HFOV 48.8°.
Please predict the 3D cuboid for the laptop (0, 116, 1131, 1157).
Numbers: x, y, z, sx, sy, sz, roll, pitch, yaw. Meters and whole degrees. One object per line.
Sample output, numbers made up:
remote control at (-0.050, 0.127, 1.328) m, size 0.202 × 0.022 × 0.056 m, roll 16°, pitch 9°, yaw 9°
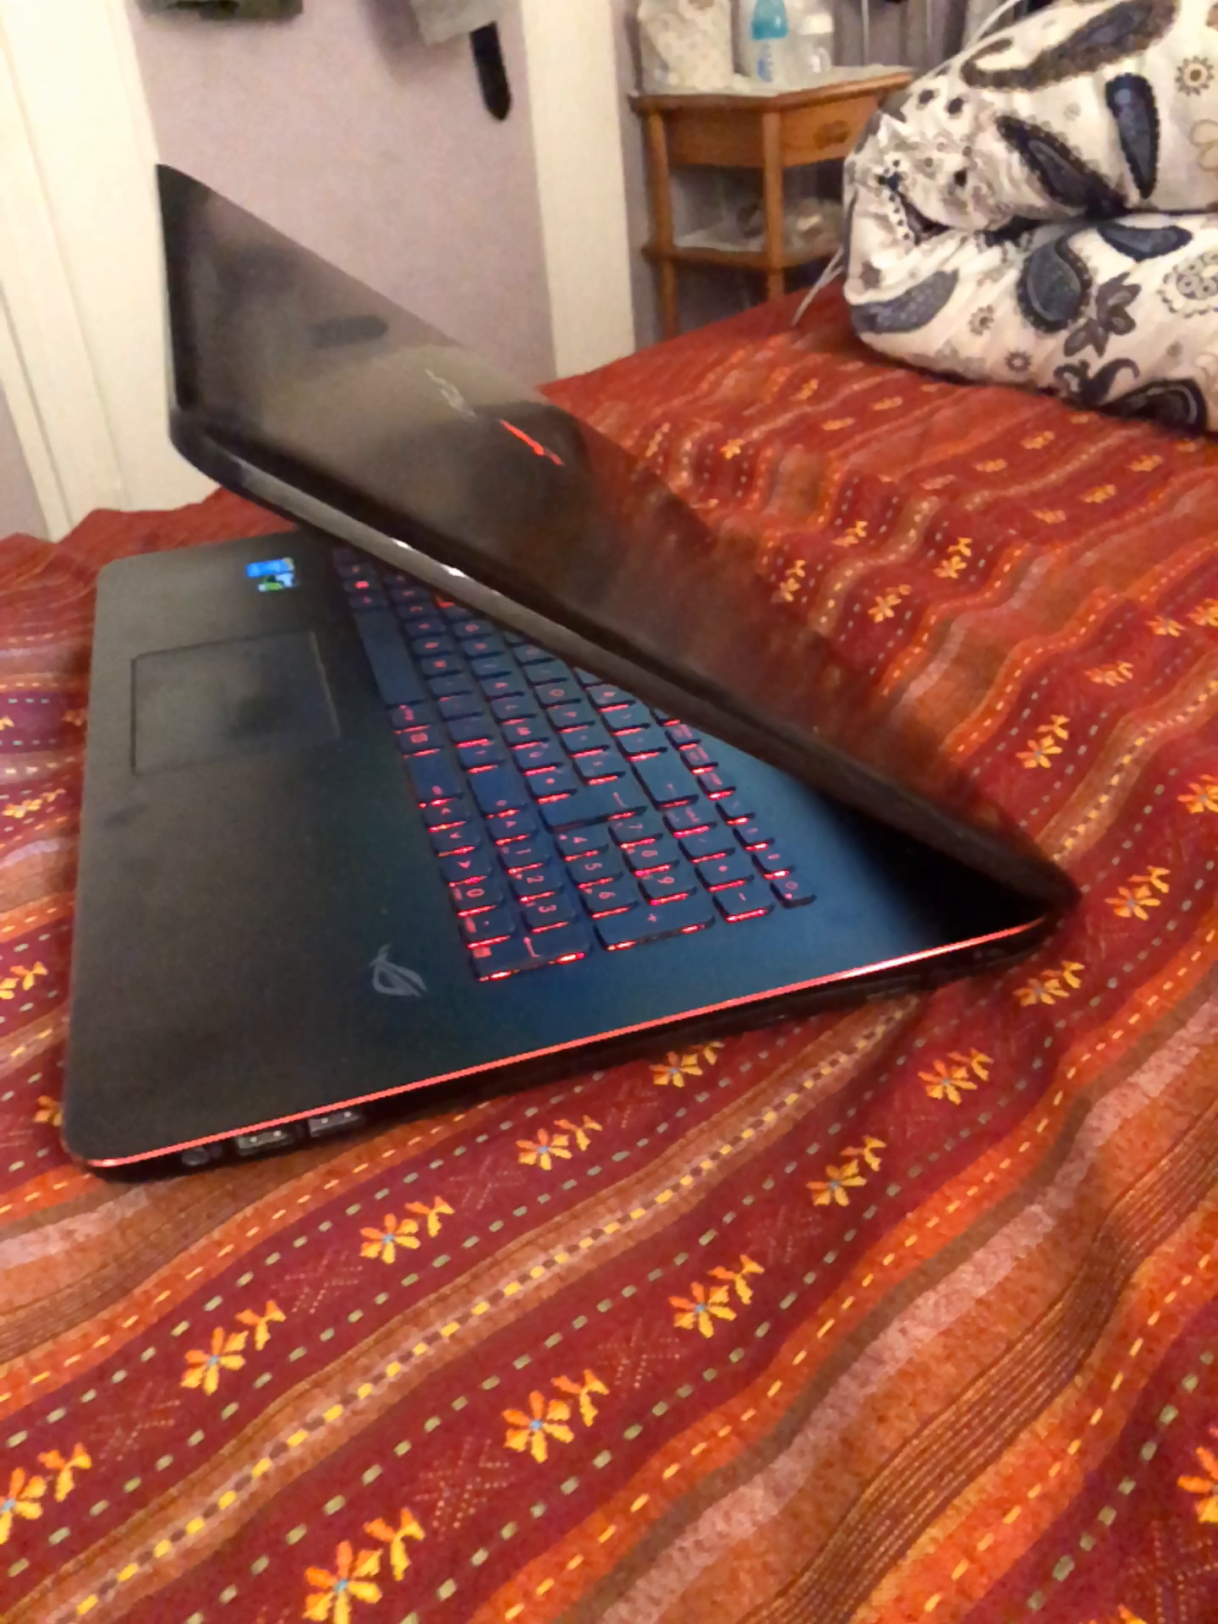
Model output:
laptop at (-0.064, -0.118, 0.470) m, size 0.267 × 0.168 × 0.400 m, roll -12°, pitch 34°, yaw -12°
